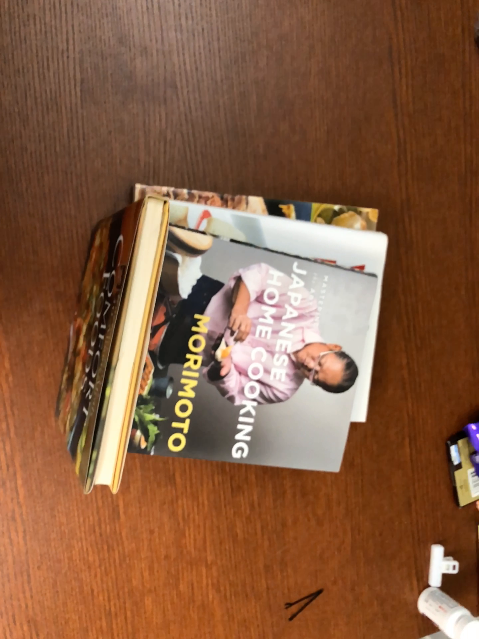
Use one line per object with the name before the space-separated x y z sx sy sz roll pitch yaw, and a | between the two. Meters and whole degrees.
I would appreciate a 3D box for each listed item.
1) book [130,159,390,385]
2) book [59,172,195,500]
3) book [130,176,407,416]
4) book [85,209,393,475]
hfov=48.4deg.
book | 0.029 -0.042 0.580 0.280 0.030 0.220 2 93 -19
book | -0.104 0.003 0.439 0.030 0.210 0.210 12 90 -23
book | 0.038 -0.014 0.556 0.280 0.030 0.220 4 92 -19
book | 0.009 0.032 0.532 0.280 0.030 0.220 10 90 -19
